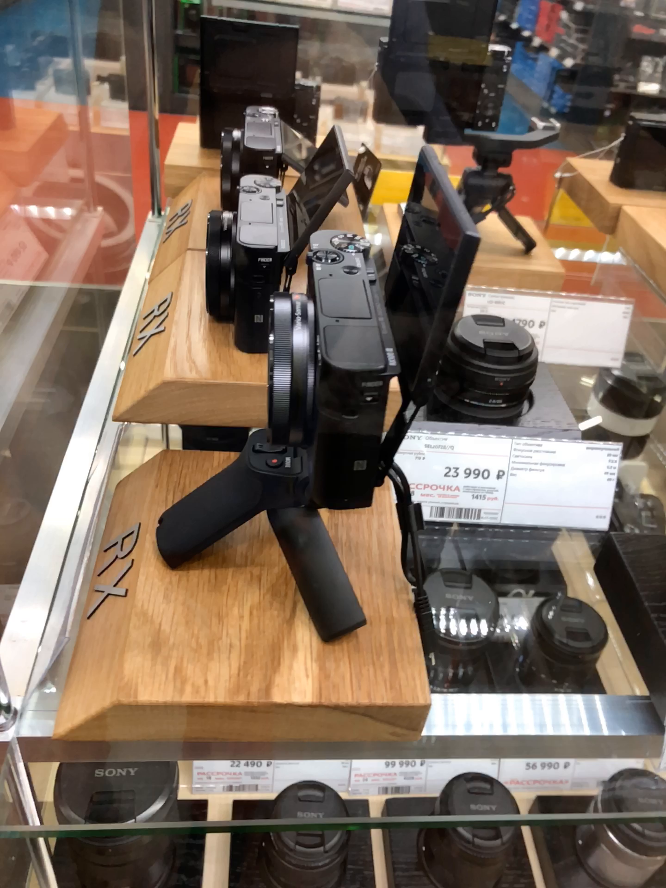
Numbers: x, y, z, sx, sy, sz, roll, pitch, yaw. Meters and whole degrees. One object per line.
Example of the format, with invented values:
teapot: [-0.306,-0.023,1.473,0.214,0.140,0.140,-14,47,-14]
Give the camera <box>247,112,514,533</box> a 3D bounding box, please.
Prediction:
camera: [0.006,-0.044,0.253,0.062,0.097,0.109,3,38,-6]

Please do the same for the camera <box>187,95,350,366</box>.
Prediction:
camera: [-0.035,-0.114,0.388,0.069,0.097,0.109,3,38,-6]
